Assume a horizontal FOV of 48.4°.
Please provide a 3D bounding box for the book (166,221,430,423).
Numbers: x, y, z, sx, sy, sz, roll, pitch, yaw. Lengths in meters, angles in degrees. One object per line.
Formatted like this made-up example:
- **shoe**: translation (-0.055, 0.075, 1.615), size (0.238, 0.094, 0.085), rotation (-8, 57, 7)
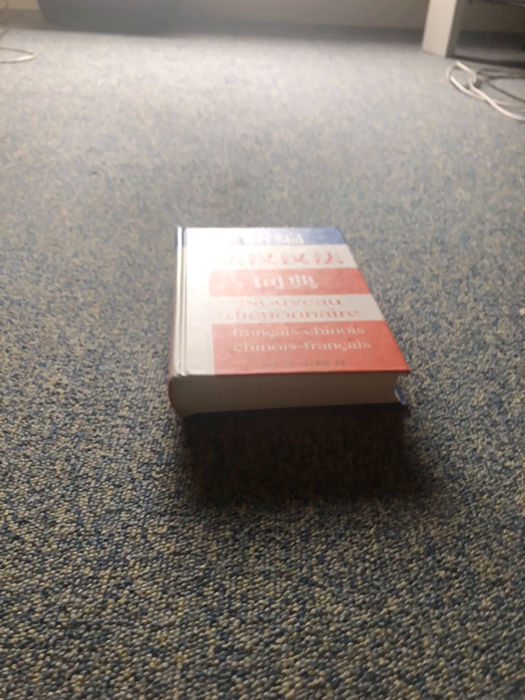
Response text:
- **book**: translation (0.010, -0.035, 0.426), size (0.153, 0.034, 0.209), rotation (-2, 36, -7)
